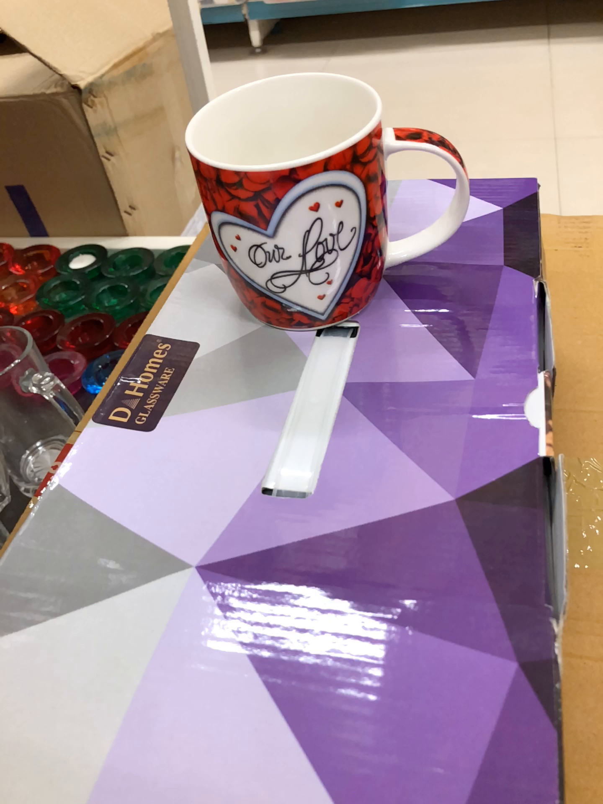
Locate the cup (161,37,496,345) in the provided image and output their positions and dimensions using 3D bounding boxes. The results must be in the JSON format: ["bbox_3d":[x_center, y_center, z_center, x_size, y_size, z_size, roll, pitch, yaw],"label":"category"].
[{"bbox_3d":[0.016,-0.101,0.325,0.130,0.099,0.091,-6,42,5],"label":"cup"}]
